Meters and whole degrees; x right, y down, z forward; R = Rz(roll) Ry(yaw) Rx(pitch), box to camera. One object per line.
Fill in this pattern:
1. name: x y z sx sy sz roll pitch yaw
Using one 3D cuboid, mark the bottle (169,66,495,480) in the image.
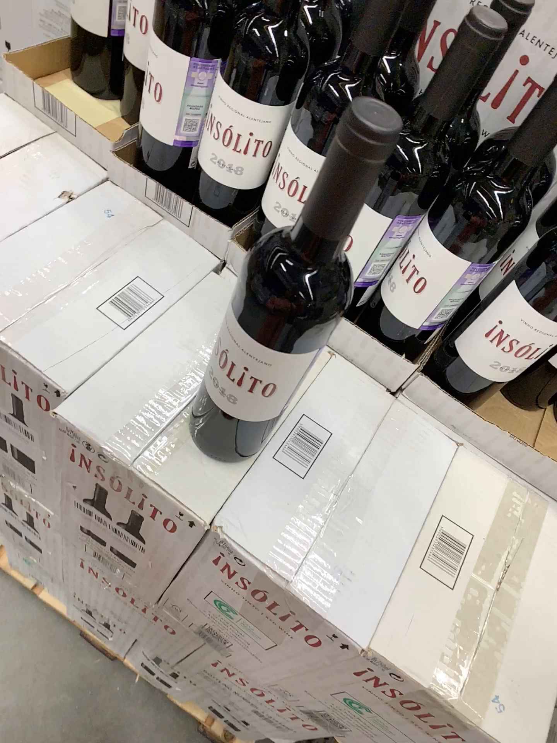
1. bottle: 0.001 -0.032 0.379 0.080 0.310 0.077 10 56 -15
